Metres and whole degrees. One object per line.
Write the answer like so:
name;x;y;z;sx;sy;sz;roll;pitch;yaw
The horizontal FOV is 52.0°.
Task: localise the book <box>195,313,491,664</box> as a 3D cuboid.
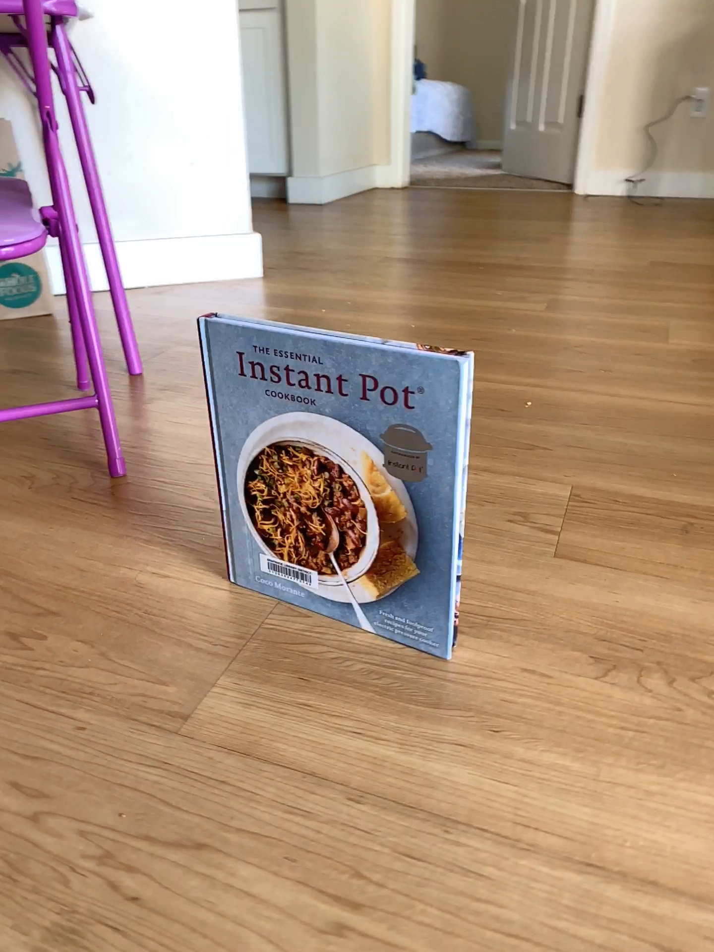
book;-0.019;0.007;0.579;0.230;0.239;0.030;14;28;26
